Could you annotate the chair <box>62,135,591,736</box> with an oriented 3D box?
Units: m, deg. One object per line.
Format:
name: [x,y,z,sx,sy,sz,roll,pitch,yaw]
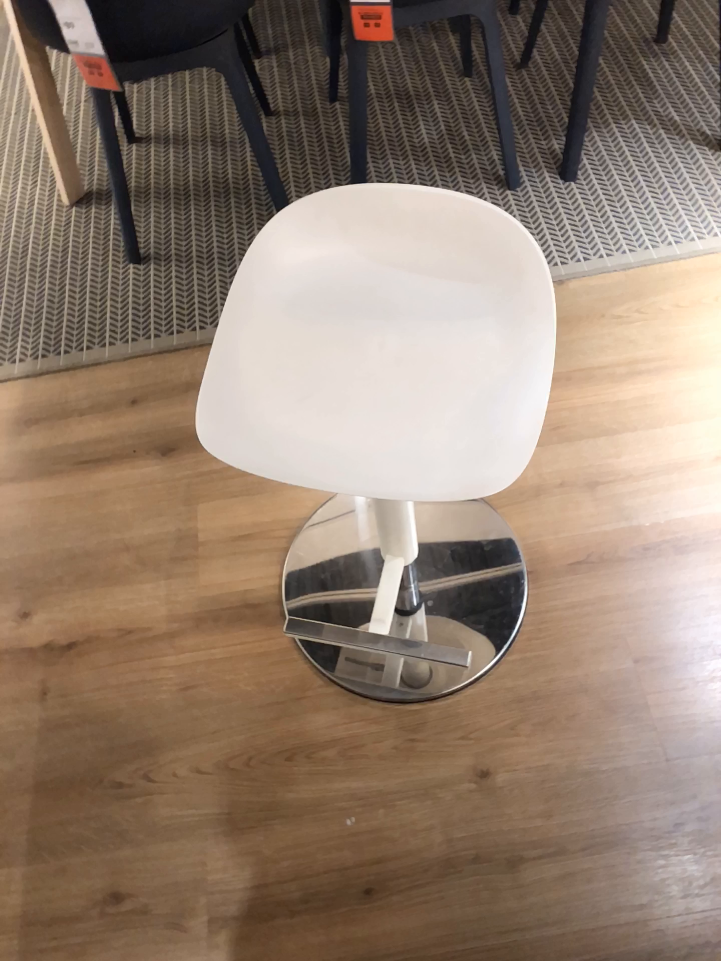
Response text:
chair: [0.029,-0.008,1.068,0.440,0.699,0.451,6,59,10]
